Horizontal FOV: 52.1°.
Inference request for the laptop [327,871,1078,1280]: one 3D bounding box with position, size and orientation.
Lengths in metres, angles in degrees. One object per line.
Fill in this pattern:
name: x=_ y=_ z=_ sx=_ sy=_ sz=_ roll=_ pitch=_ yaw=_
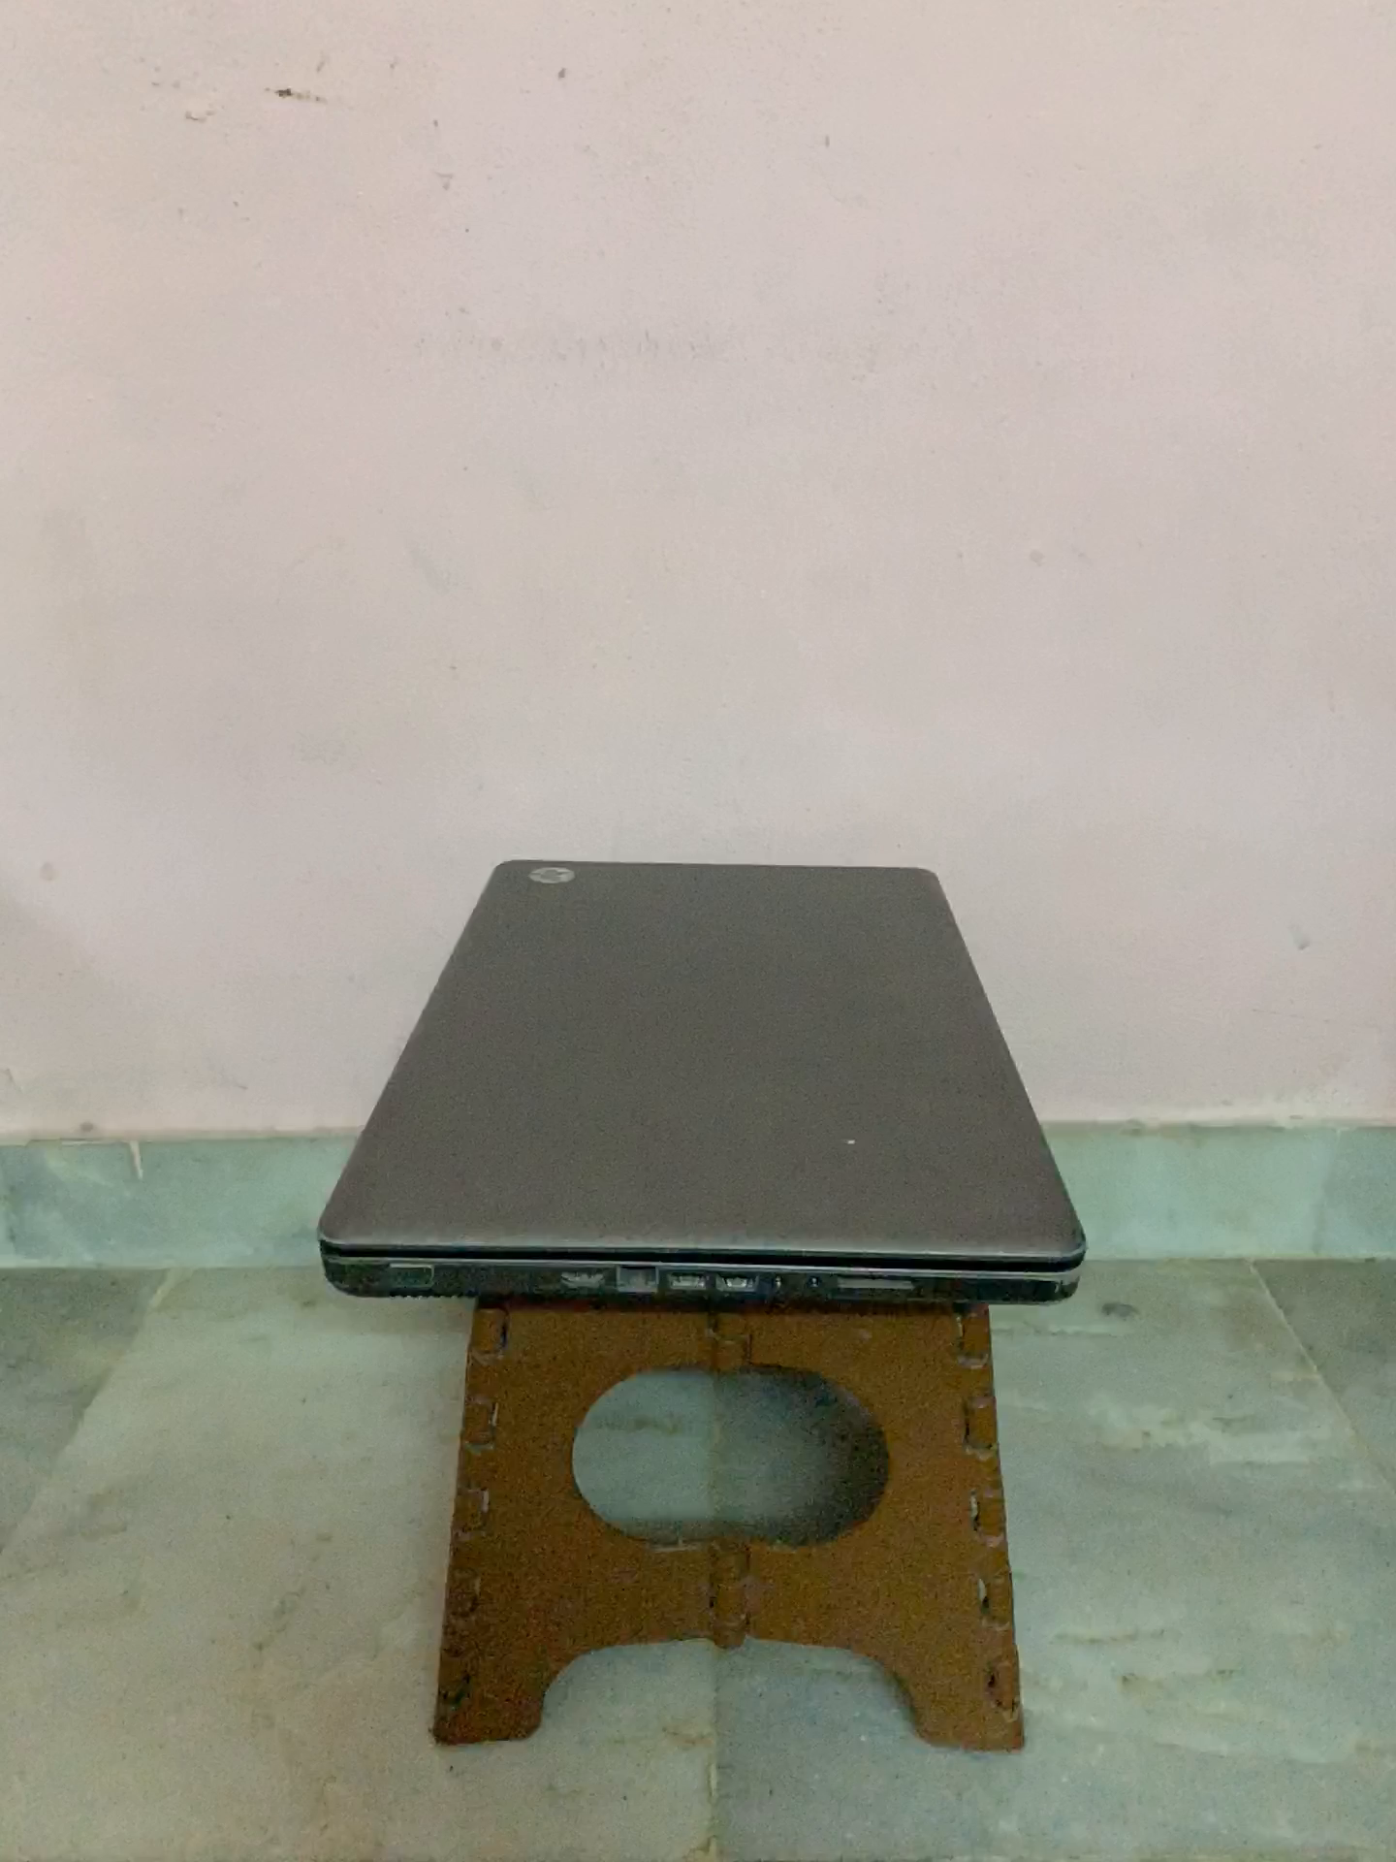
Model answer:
laptop: x=0.006 y=0.039 z=0.637 sx=0.242 sy=0.003 sz=0.380 roll=1 pitch=21 yaw=1
